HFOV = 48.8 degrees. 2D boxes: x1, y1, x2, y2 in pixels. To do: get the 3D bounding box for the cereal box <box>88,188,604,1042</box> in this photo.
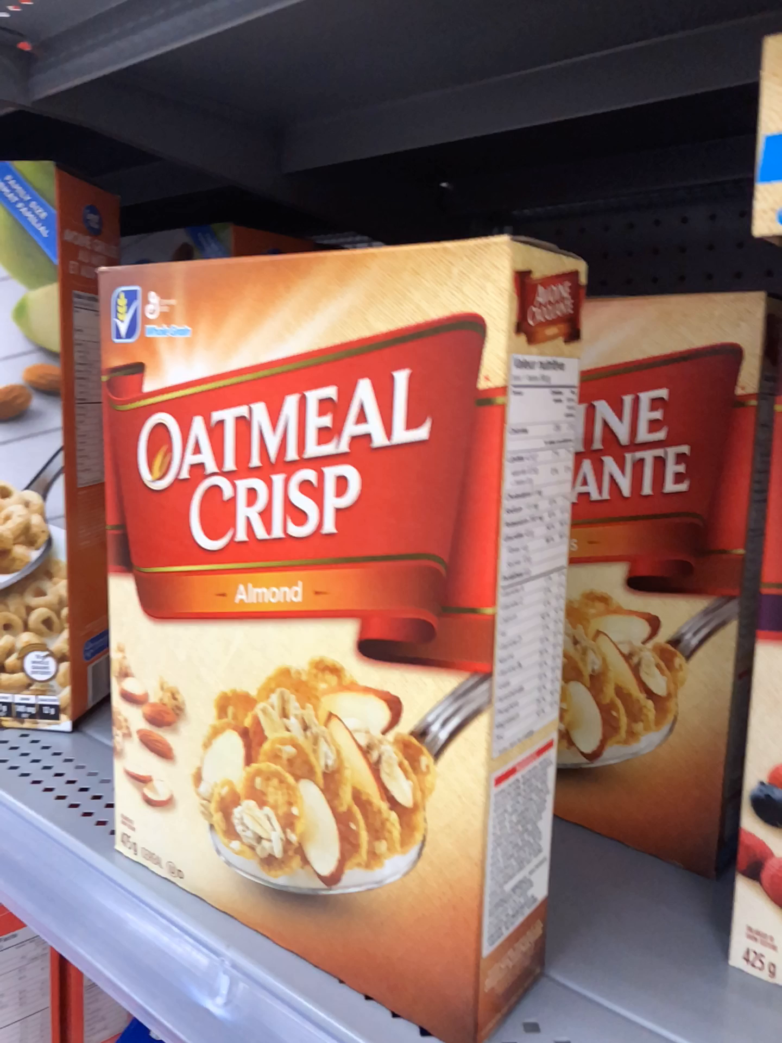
[{"bbox_3d":[-0.034,0.028,0.345,0.210,0.279,0.050,8,11,36],"label":"cereal box"}]
